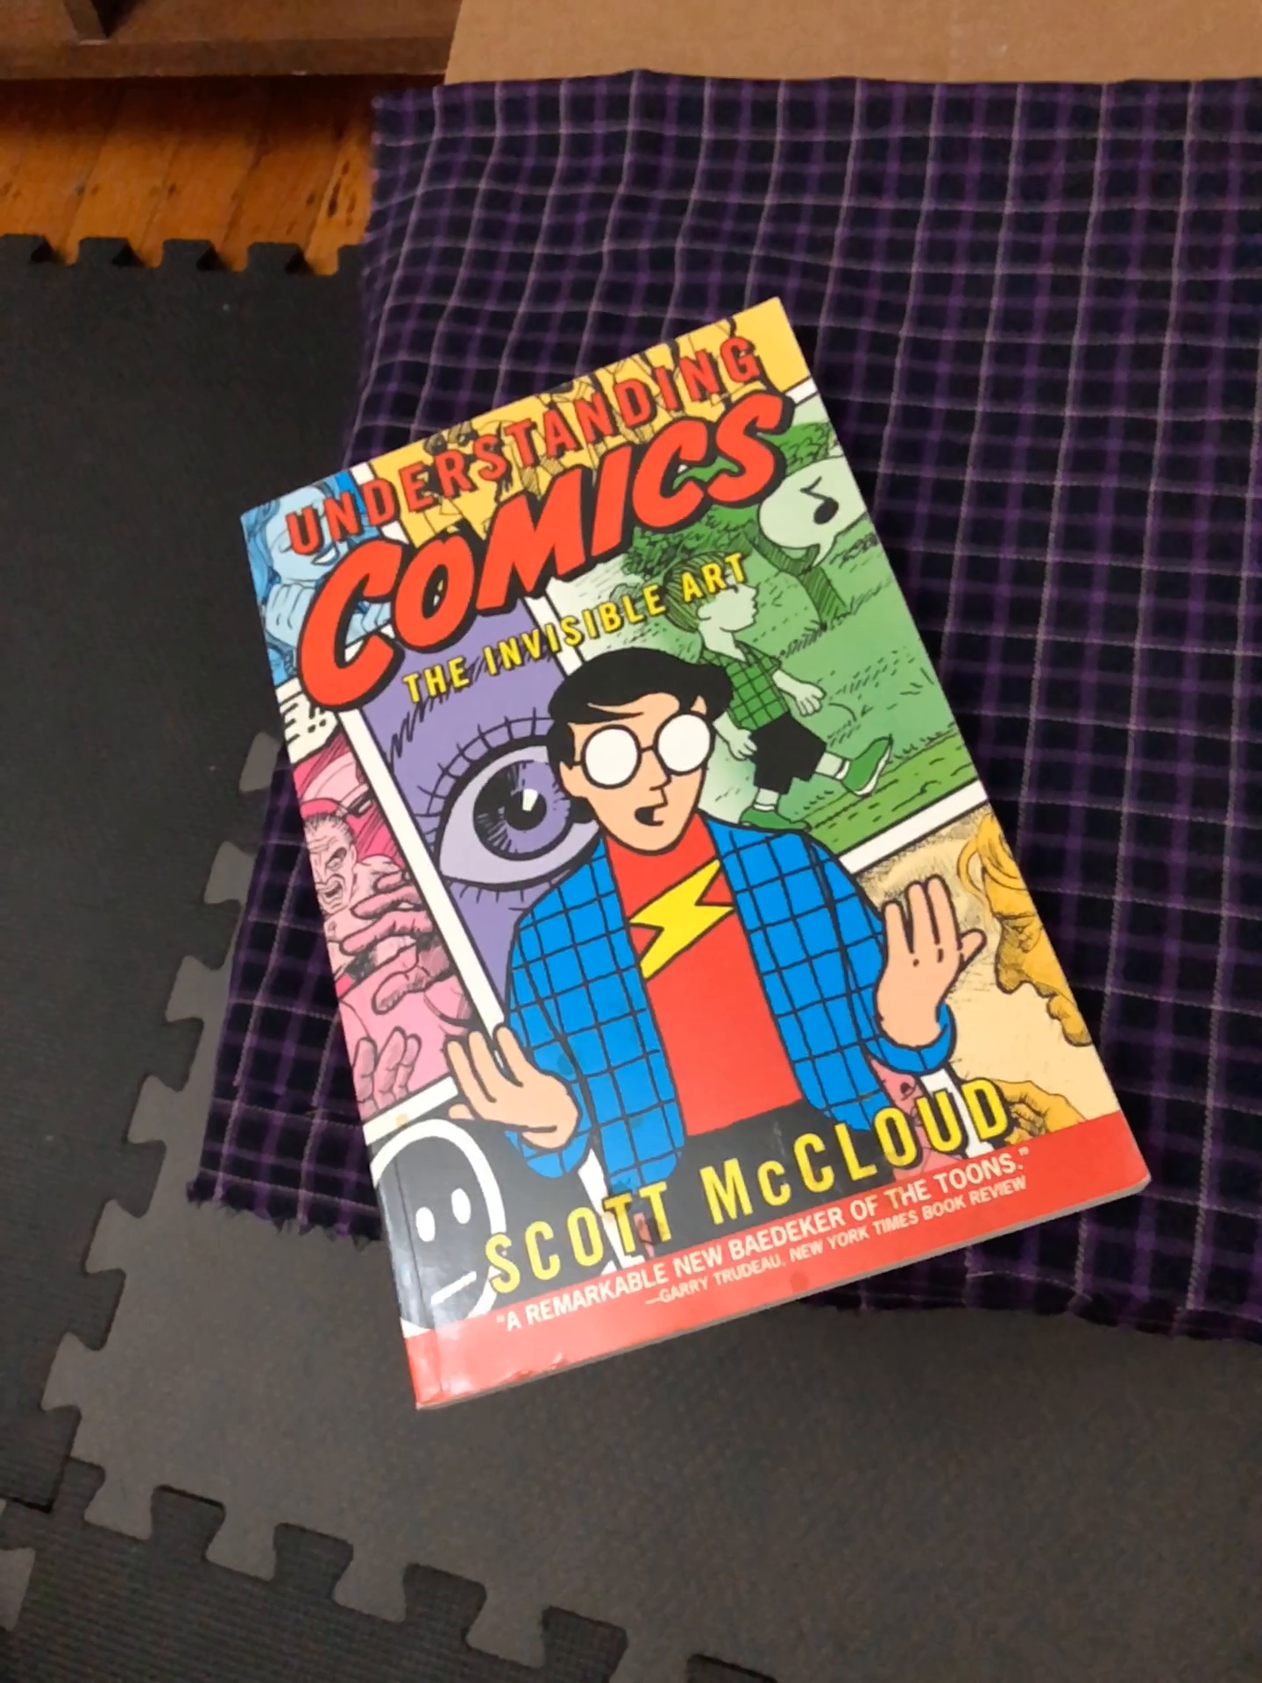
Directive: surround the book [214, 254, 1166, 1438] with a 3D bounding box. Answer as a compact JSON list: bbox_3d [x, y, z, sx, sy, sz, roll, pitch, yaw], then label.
[{"bbox_3d":[-0.004,-0.014,0.357,0.170,0.020,0.271,-19,67,6],"label":"book"}]
